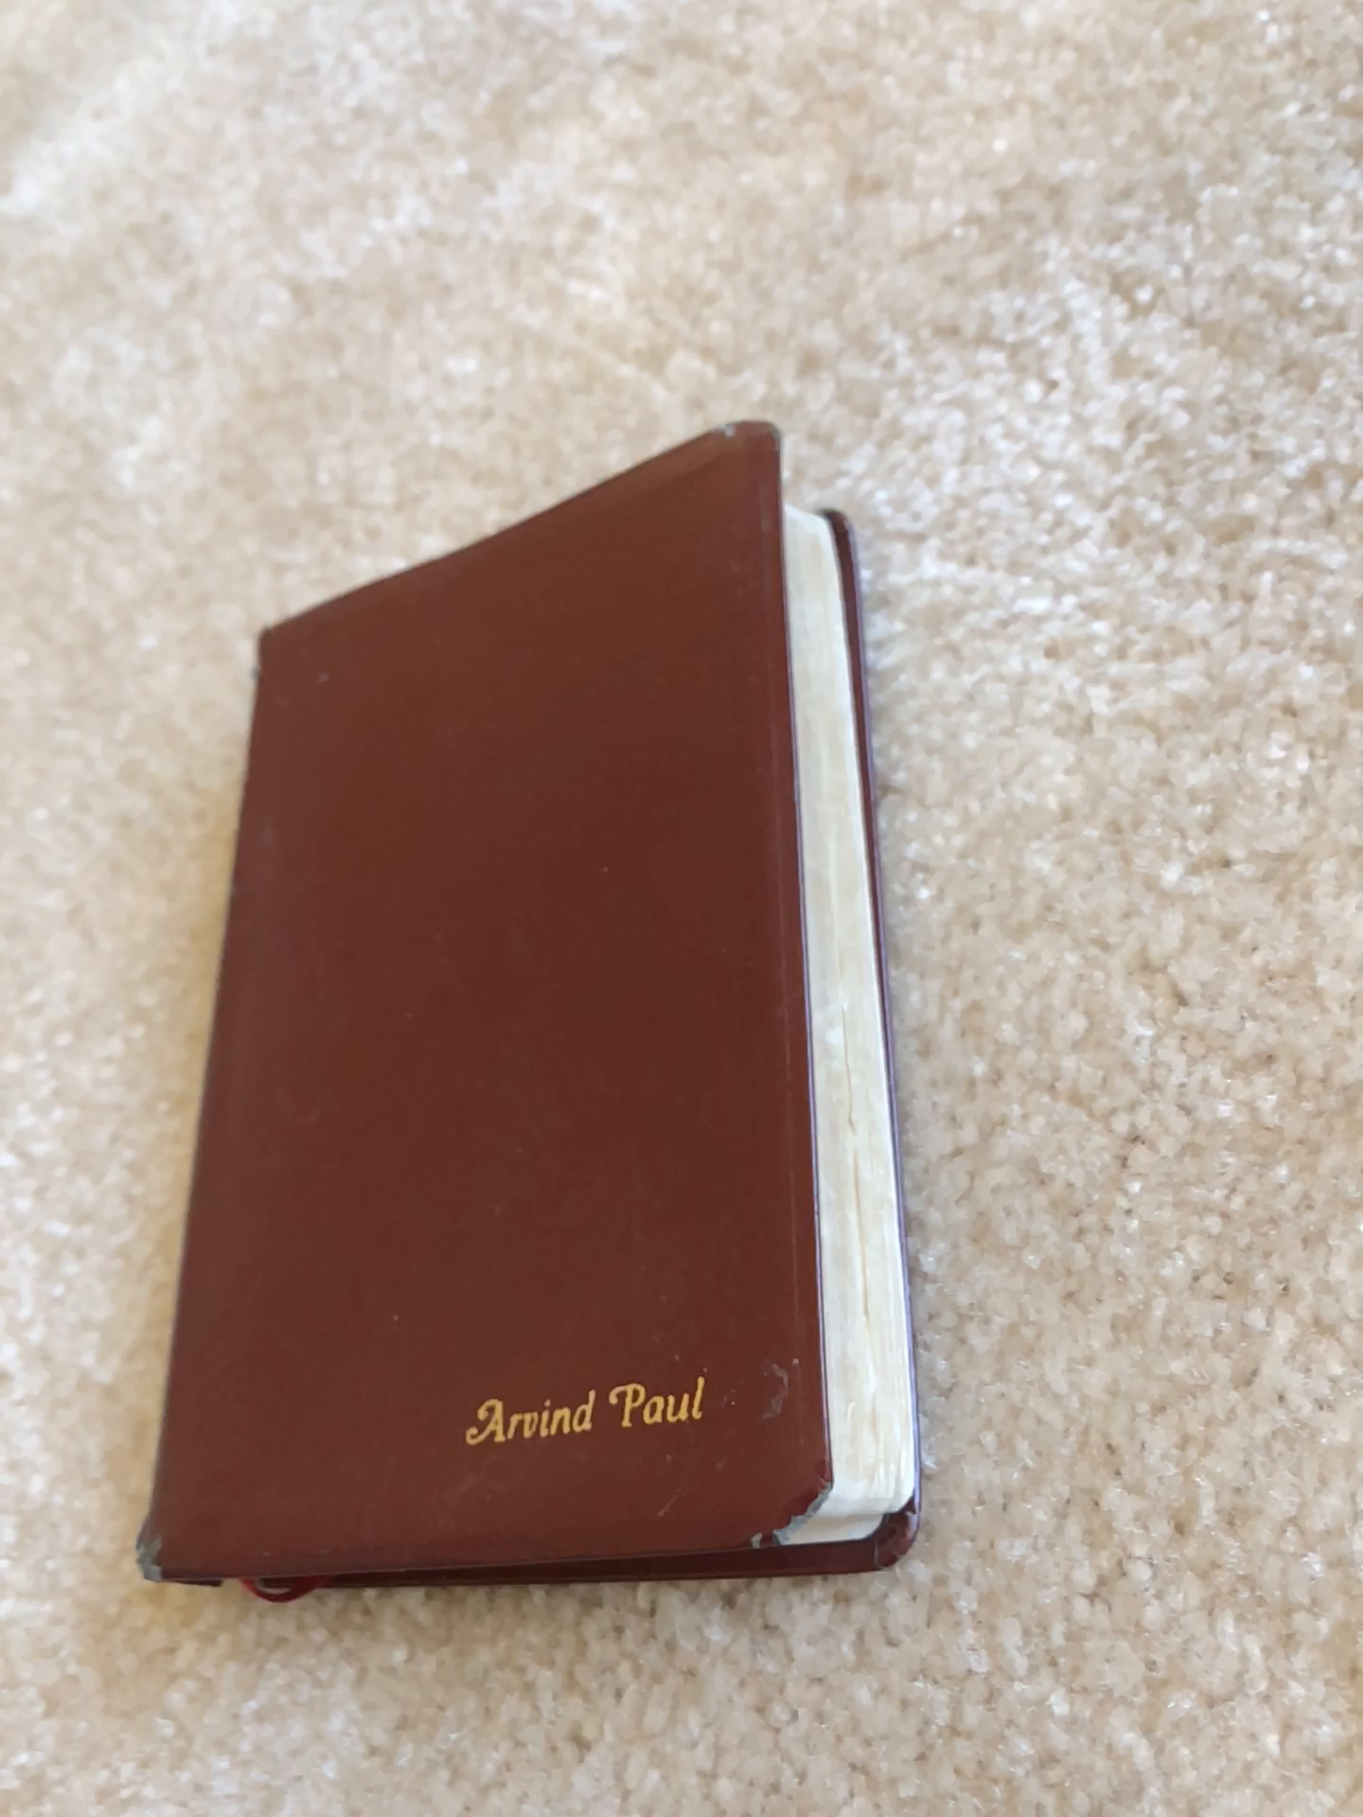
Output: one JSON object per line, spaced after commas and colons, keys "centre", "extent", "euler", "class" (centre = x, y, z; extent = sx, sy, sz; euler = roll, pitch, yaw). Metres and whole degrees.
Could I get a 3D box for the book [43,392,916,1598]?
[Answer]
{"centre": [-0.030, 0.016, 0.231], "extent": [0.110, 0.040, 0.157], "euler": [-16, 60, 28], "class": "book"}
